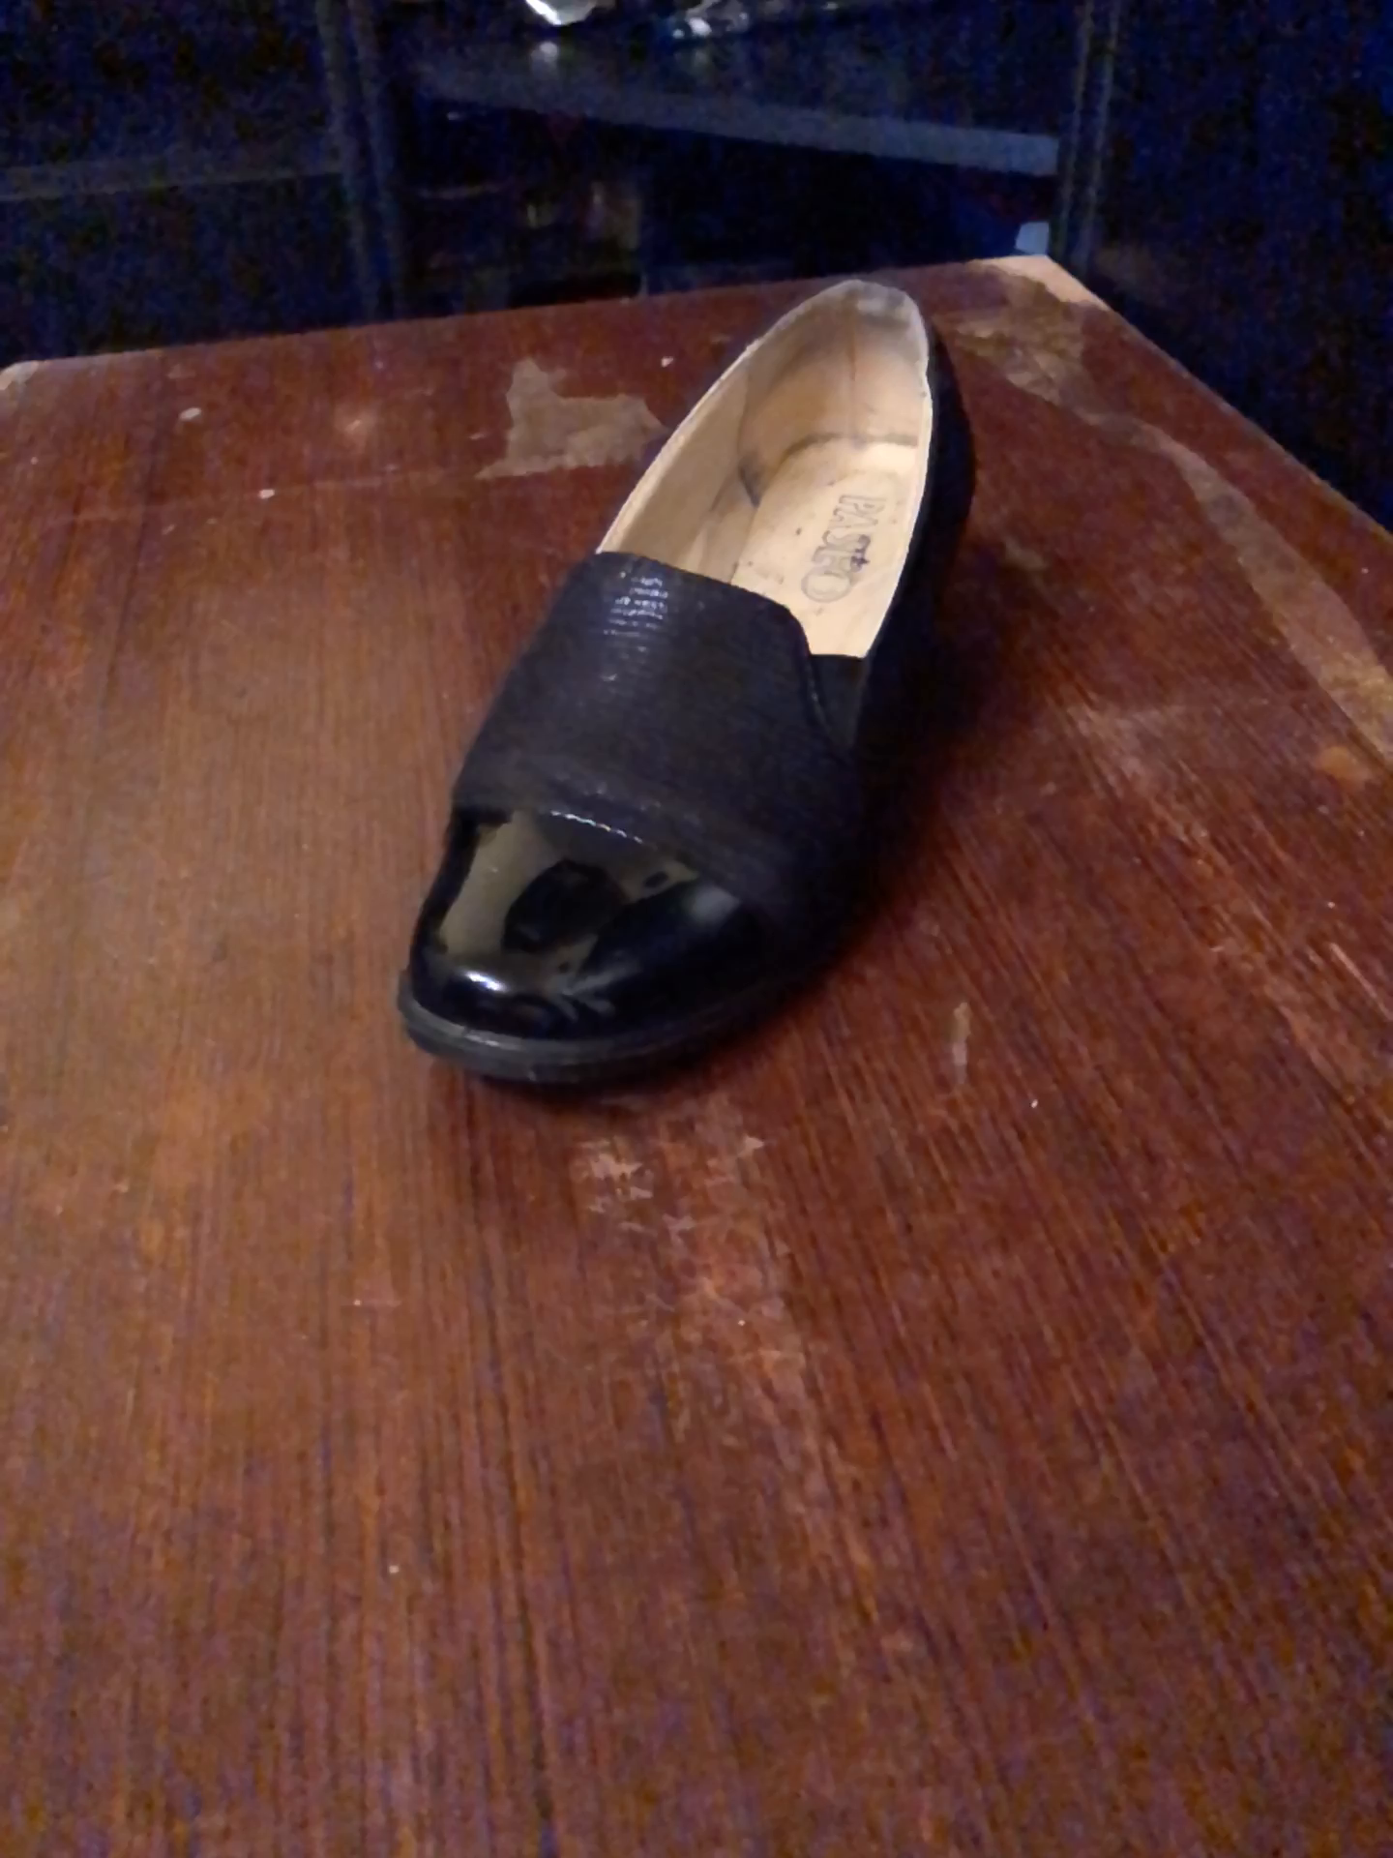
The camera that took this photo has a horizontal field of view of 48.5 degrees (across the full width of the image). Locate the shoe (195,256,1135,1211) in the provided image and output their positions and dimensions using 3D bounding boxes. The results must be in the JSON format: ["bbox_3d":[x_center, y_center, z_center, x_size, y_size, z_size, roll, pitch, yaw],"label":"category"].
[{"bbox_3d":[0.013,-0.063,0.340,0.090,0.070,0.237,17,48,22],"label":"shoe"}]
